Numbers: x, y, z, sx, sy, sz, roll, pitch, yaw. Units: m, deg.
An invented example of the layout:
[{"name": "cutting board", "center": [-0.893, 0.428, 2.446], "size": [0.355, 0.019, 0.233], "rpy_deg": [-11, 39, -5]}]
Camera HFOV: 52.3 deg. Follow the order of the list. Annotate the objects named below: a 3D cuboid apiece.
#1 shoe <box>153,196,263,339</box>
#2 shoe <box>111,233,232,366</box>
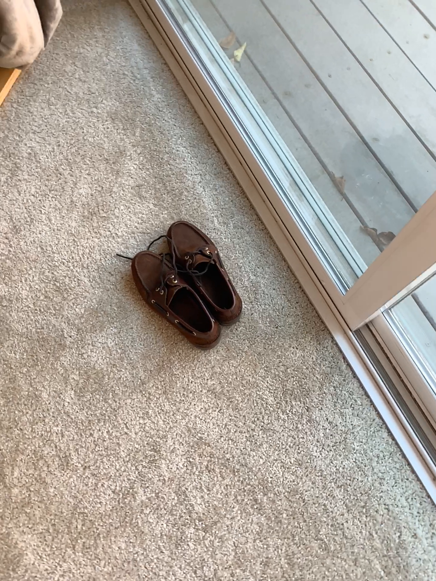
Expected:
[{"name": "shoe", "center": [-0.026, -0.054, 1.028], "size": [0.110, 0.100, 0.300], "rpy_deg": [-29, 73, -9]}, {"name": "shoe", "center": [-0.104, 0.021, 1.008], "size": [0.100, 0.100, 0.290], "rpy_deg": [-40, 76, -13]}]
